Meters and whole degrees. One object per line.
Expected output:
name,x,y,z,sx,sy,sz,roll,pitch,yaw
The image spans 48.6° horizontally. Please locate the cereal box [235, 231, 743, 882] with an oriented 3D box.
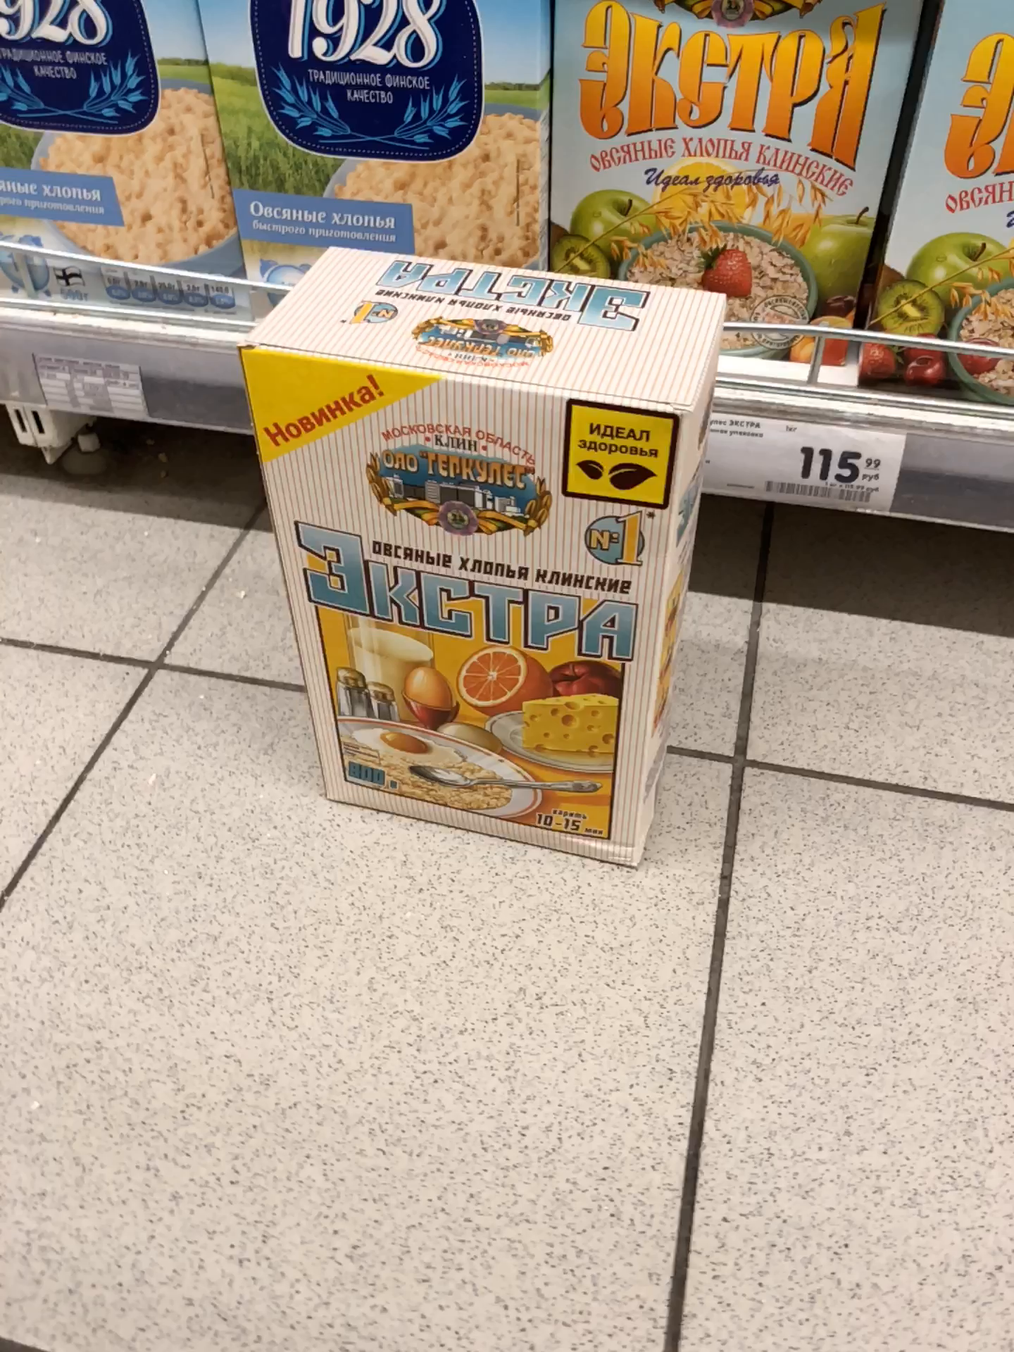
cereal box,-0.002,-0.037,0.451,0.150,0.239,0.080,11,45,12
